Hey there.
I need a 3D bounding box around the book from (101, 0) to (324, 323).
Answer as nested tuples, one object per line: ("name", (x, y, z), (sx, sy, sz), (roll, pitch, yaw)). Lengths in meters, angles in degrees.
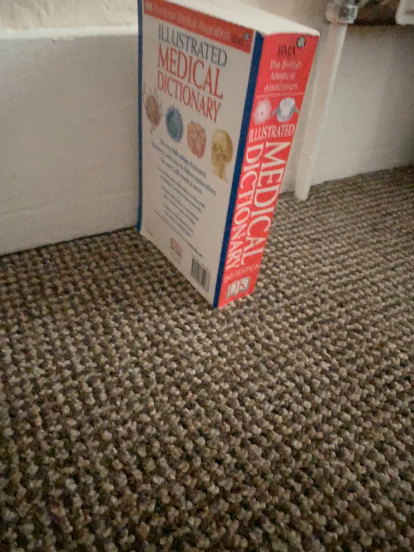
("book", (-0.016, -0.103, 0.347), (0.060, 0.198, 0.191), (-17, 43, -26))
